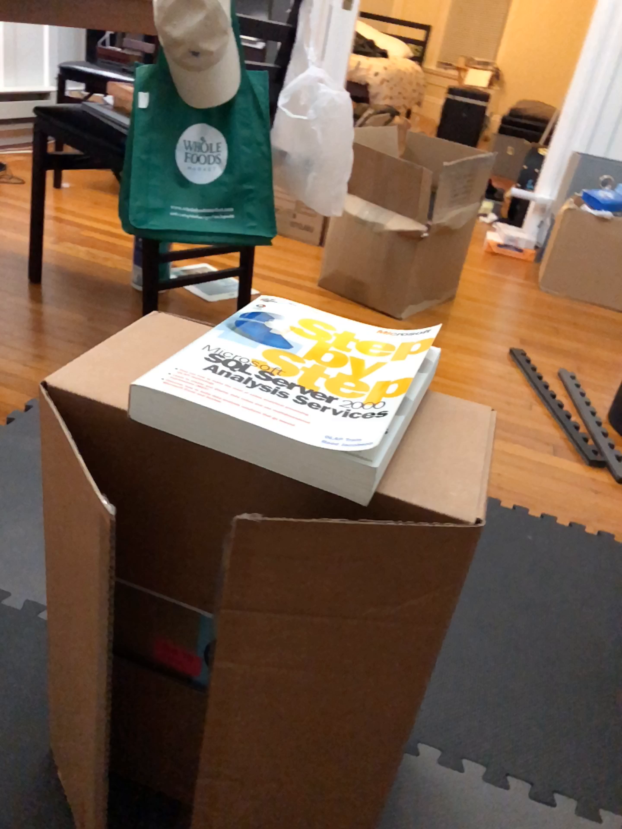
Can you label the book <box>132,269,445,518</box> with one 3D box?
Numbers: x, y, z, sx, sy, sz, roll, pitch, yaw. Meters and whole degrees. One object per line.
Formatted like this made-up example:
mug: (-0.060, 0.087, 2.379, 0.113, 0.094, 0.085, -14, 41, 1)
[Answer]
book: (-0.001, -0.036, 0.578, 0.200, 0.050, 0.241, 18, 31, 6)
